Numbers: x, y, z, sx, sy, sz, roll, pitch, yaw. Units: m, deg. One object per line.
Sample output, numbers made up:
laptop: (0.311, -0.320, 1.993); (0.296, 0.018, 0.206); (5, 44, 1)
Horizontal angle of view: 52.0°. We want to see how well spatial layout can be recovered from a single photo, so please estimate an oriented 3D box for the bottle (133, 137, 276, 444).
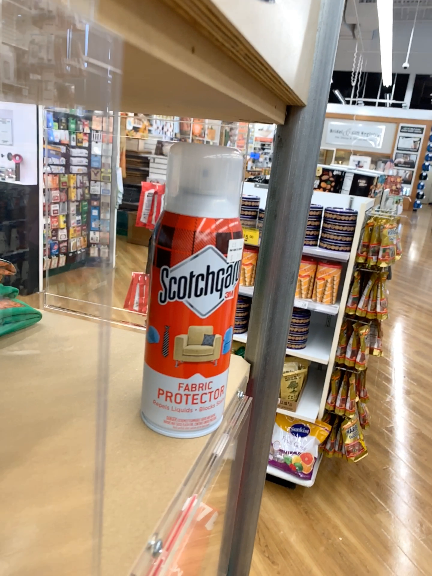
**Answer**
bottle: (-0.016, 0.002, 0.323); (0.069, 0.206, 0.067); (6, 16, -2)
